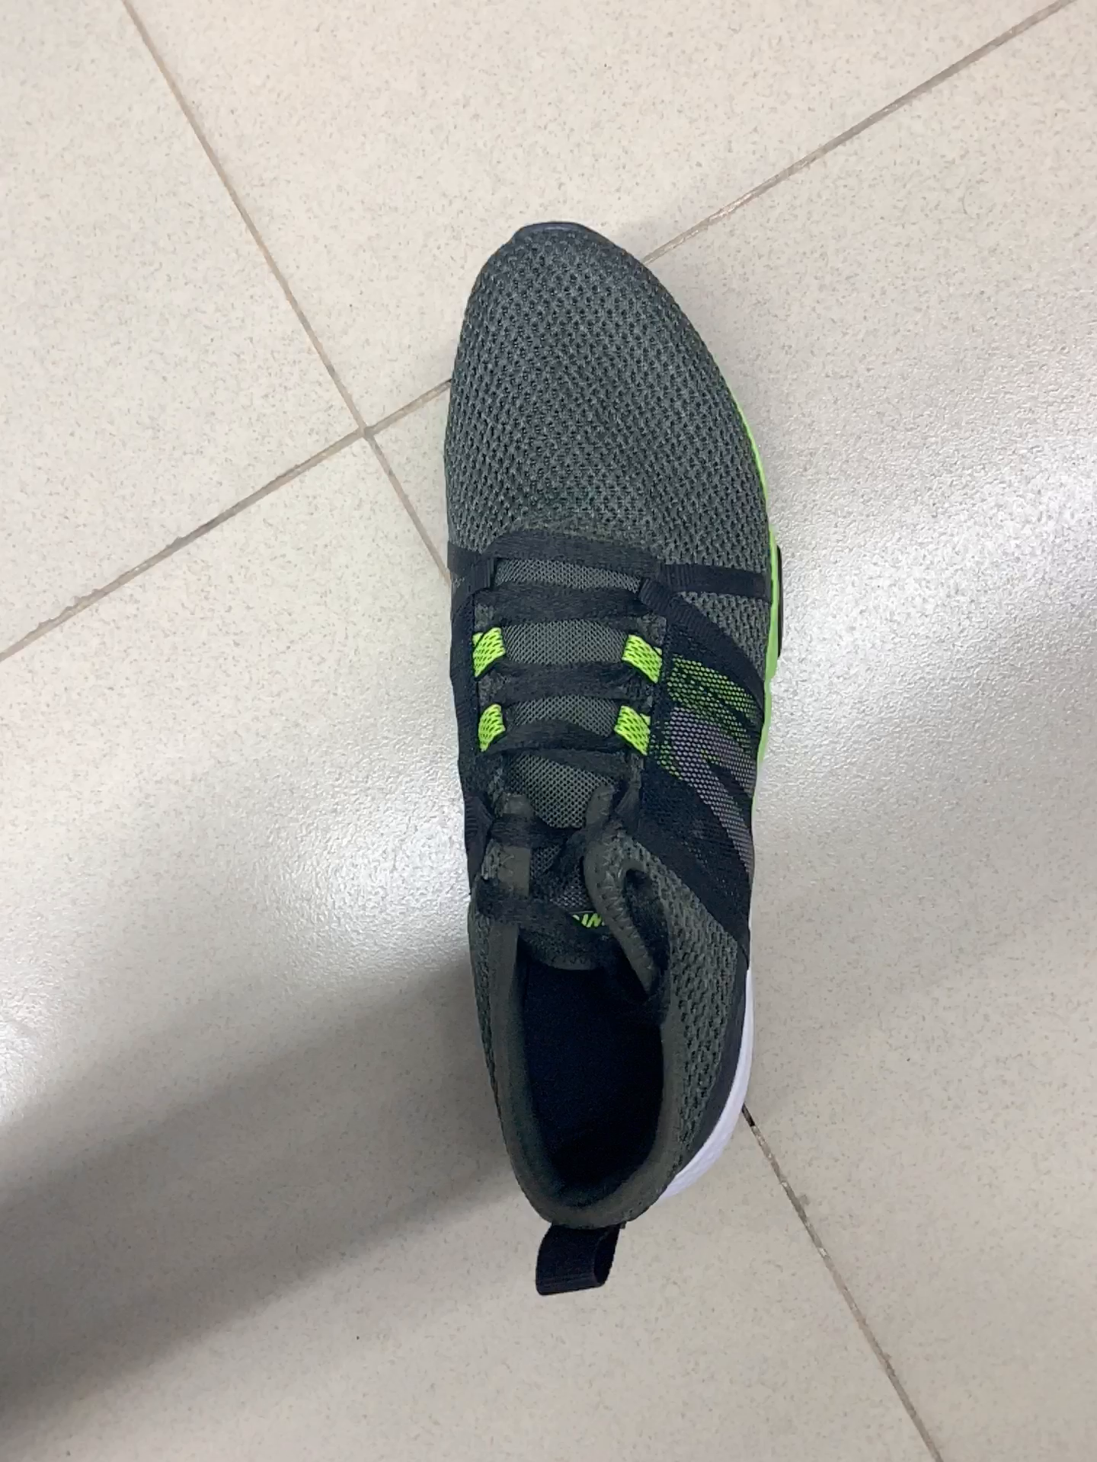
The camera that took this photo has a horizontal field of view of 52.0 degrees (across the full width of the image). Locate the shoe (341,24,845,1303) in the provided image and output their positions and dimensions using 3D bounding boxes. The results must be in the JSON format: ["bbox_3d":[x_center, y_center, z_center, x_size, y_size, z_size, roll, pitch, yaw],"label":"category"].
[{"bbox_3d":[0.017,-0.013,0.321,0.110,0.100,0.300,-2,91,9],"label":"shoe"}]
